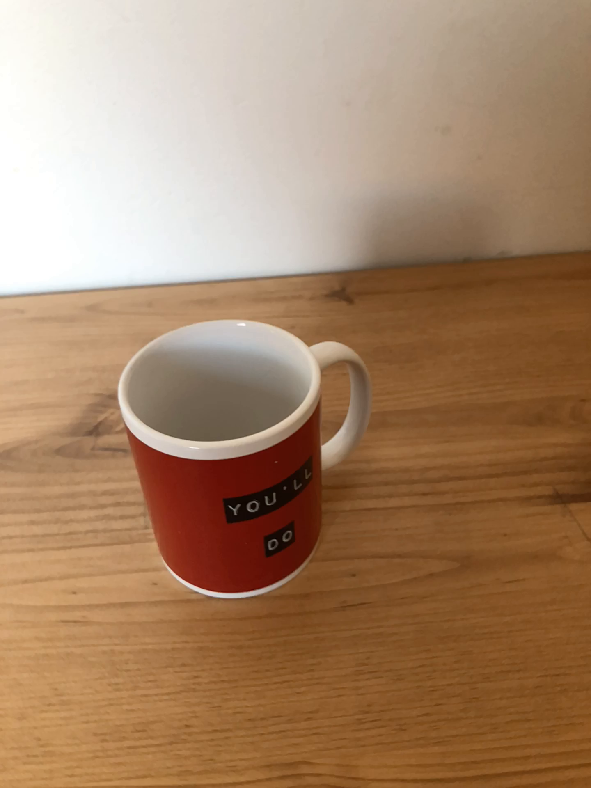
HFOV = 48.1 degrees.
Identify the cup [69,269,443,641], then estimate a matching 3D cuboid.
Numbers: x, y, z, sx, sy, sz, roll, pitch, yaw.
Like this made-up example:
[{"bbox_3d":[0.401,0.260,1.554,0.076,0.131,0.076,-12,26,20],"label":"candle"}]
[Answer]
[{"bbox_3d":[-0.015,0.019,0.296,0.123,0.086,0.091,-26,44,-25],"label":"cup"}]
